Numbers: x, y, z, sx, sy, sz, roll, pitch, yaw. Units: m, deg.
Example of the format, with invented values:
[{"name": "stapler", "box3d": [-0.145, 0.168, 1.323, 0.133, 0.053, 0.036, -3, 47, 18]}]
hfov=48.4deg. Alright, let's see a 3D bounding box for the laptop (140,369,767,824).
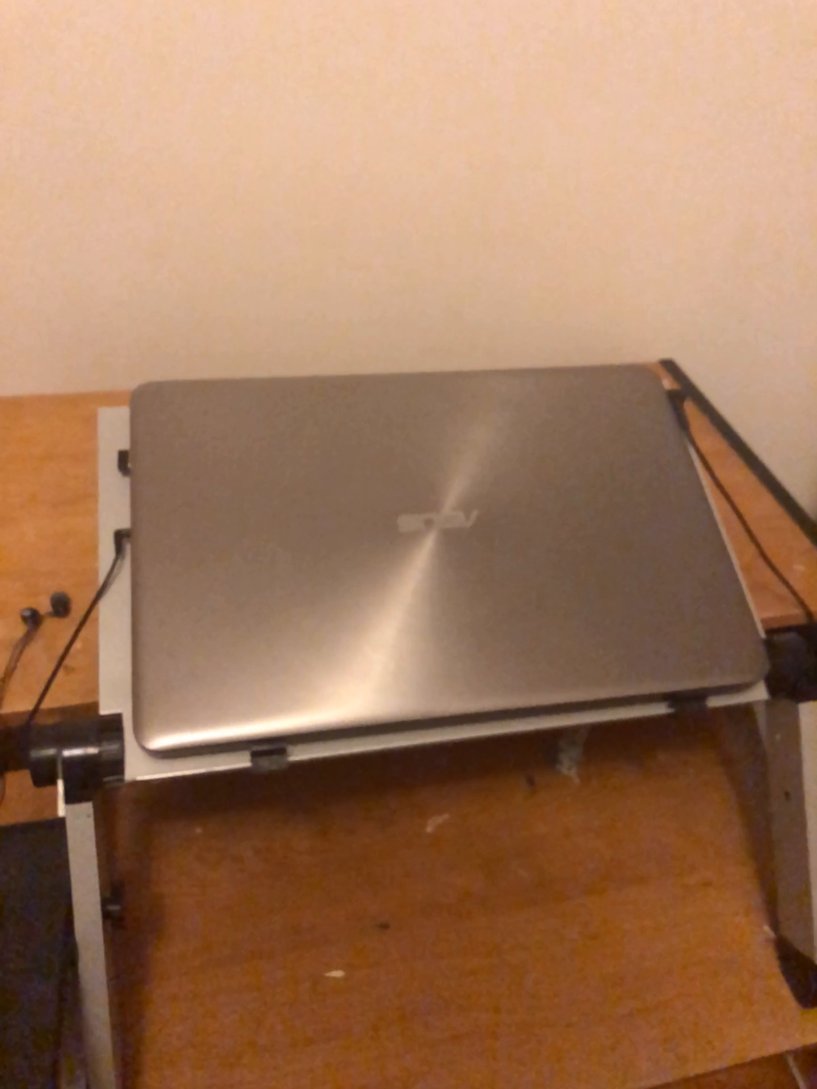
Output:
[{"name": "laptop", "box3d": [0.014, 0.017, 0.603, 0.362, 0.071, 0.250, -4, 57, -10]}]
